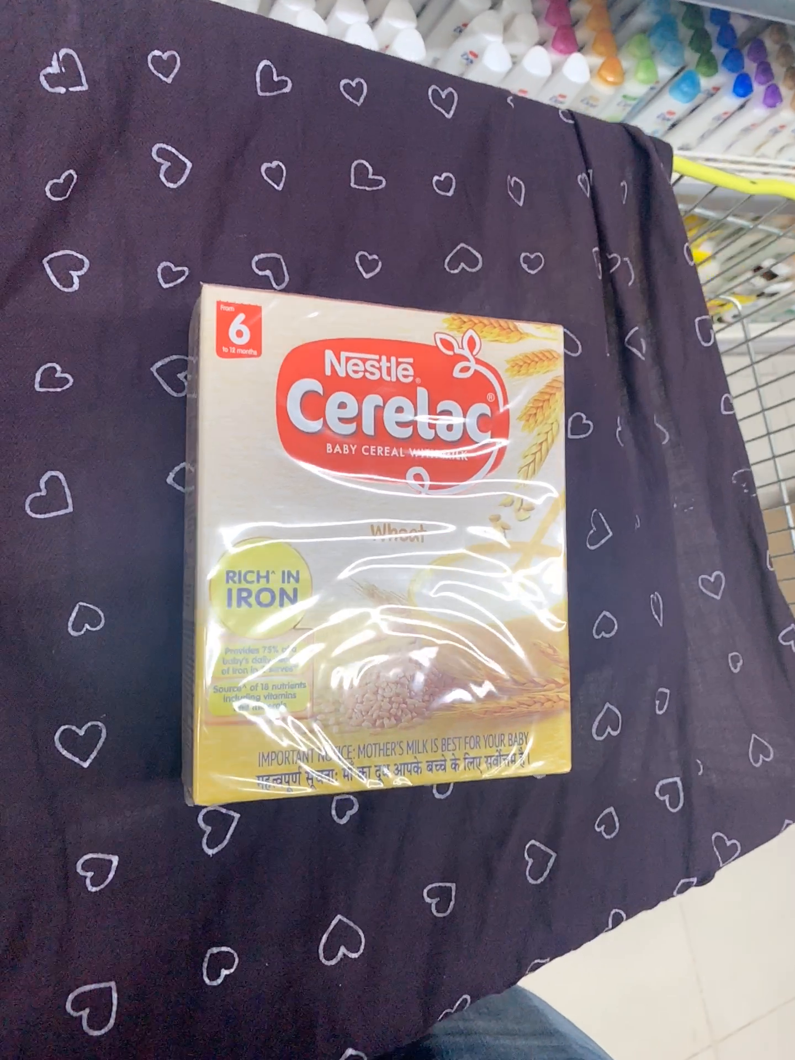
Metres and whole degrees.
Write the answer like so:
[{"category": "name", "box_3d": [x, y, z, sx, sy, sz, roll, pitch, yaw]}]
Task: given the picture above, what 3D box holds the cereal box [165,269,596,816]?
[{"category": "cereal box", "box_3d": [-0.004, 0.005, 0.282, 0.140, 0.040, 0.160, 2, 86, -19]}]
